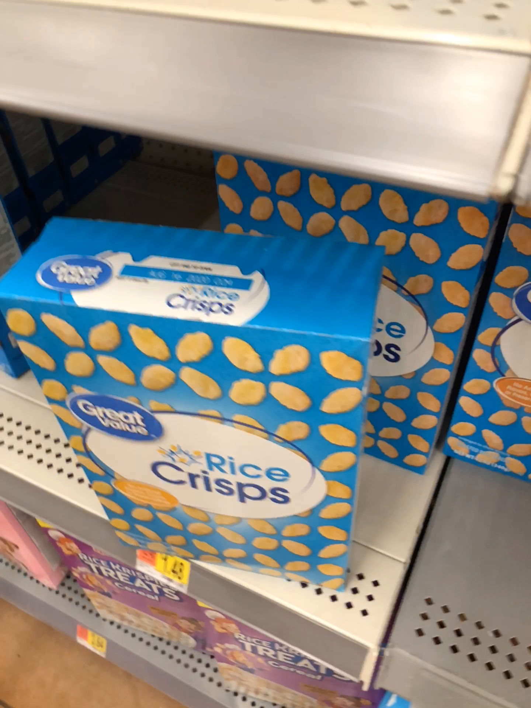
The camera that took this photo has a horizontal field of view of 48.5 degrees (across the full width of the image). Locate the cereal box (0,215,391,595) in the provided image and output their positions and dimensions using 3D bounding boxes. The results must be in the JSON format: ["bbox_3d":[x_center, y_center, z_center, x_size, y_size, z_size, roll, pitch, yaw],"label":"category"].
[{"bbox_3d":[-0.034,0.051,0.388,0.200,0.269,0.070,7,48,12],"label":"cereal box"}]
